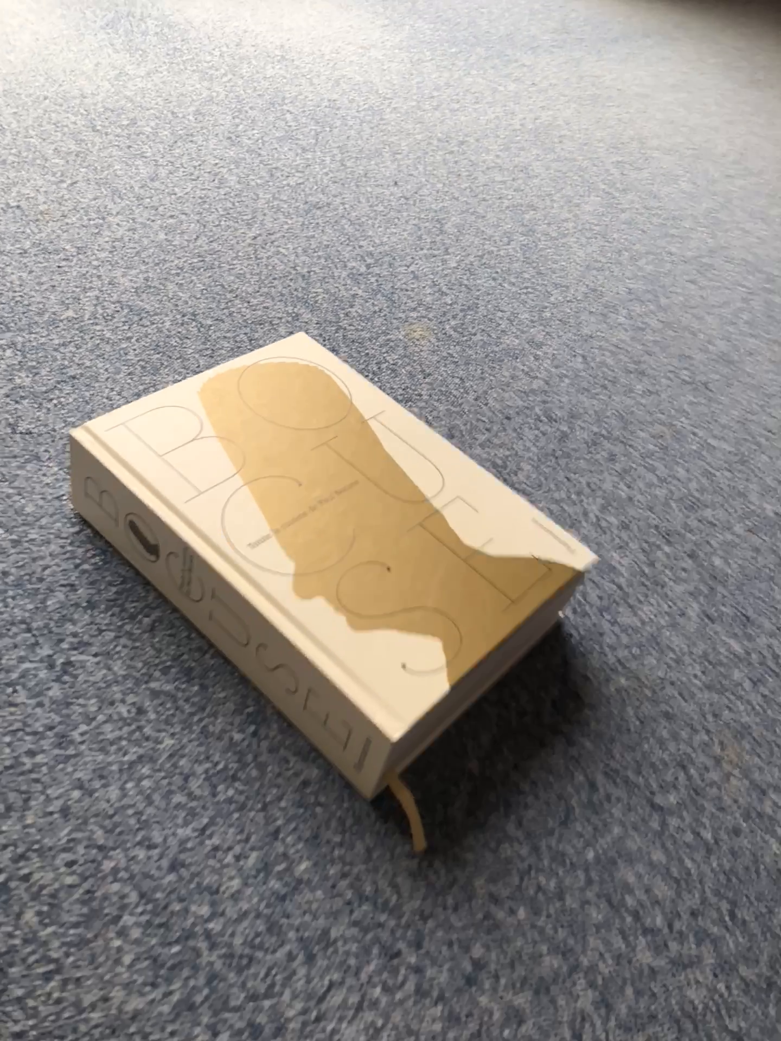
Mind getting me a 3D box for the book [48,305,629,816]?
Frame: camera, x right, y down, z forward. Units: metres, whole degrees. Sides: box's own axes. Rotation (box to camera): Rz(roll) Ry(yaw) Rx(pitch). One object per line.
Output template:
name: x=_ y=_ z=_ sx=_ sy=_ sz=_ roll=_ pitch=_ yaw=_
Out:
book: x=-0.035 y=-0.002 z=0.522 sx=0.280 sy=0.080 sz=0.201 roll=39 pitch=49 yaw=23
